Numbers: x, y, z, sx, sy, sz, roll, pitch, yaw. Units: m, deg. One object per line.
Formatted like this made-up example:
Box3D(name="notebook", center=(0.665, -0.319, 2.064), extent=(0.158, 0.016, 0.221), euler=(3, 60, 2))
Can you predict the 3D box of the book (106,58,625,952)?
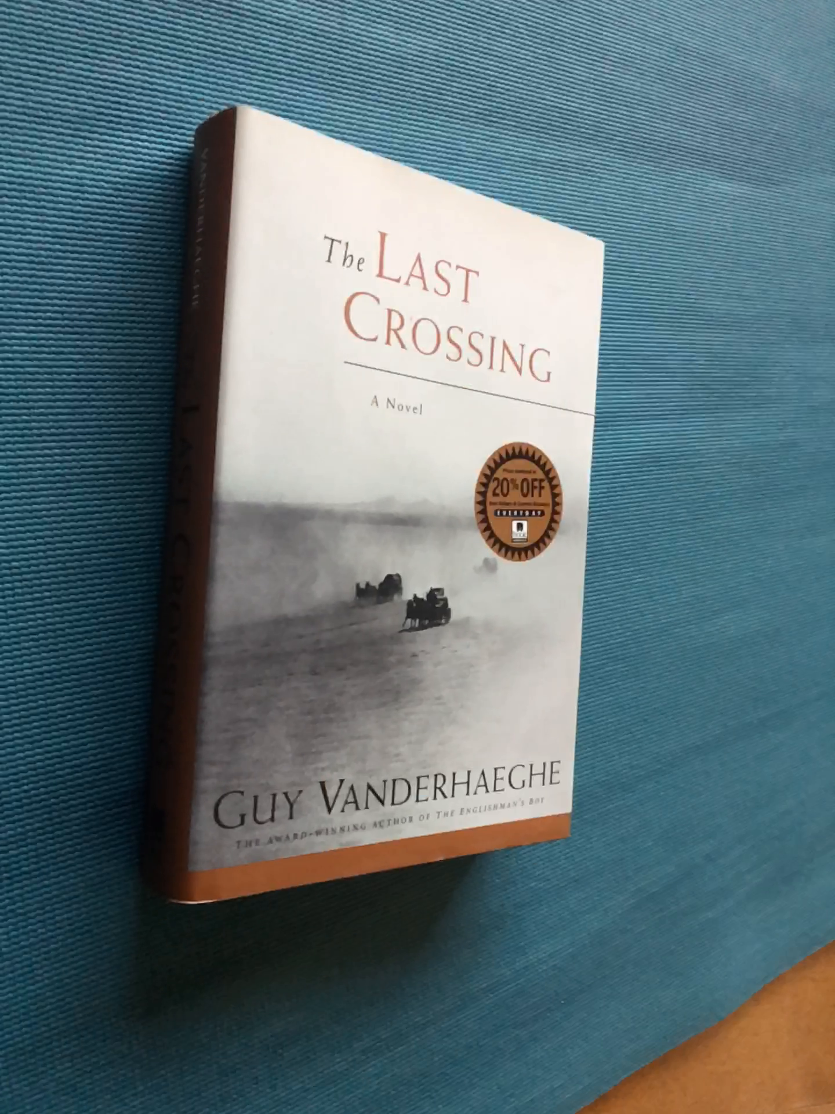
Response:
Box3D(name="book", center=(-0.006, -0.011, 0.305), extent=(0.171, 0.040, 0.230), euler=(3, 88, -38))
